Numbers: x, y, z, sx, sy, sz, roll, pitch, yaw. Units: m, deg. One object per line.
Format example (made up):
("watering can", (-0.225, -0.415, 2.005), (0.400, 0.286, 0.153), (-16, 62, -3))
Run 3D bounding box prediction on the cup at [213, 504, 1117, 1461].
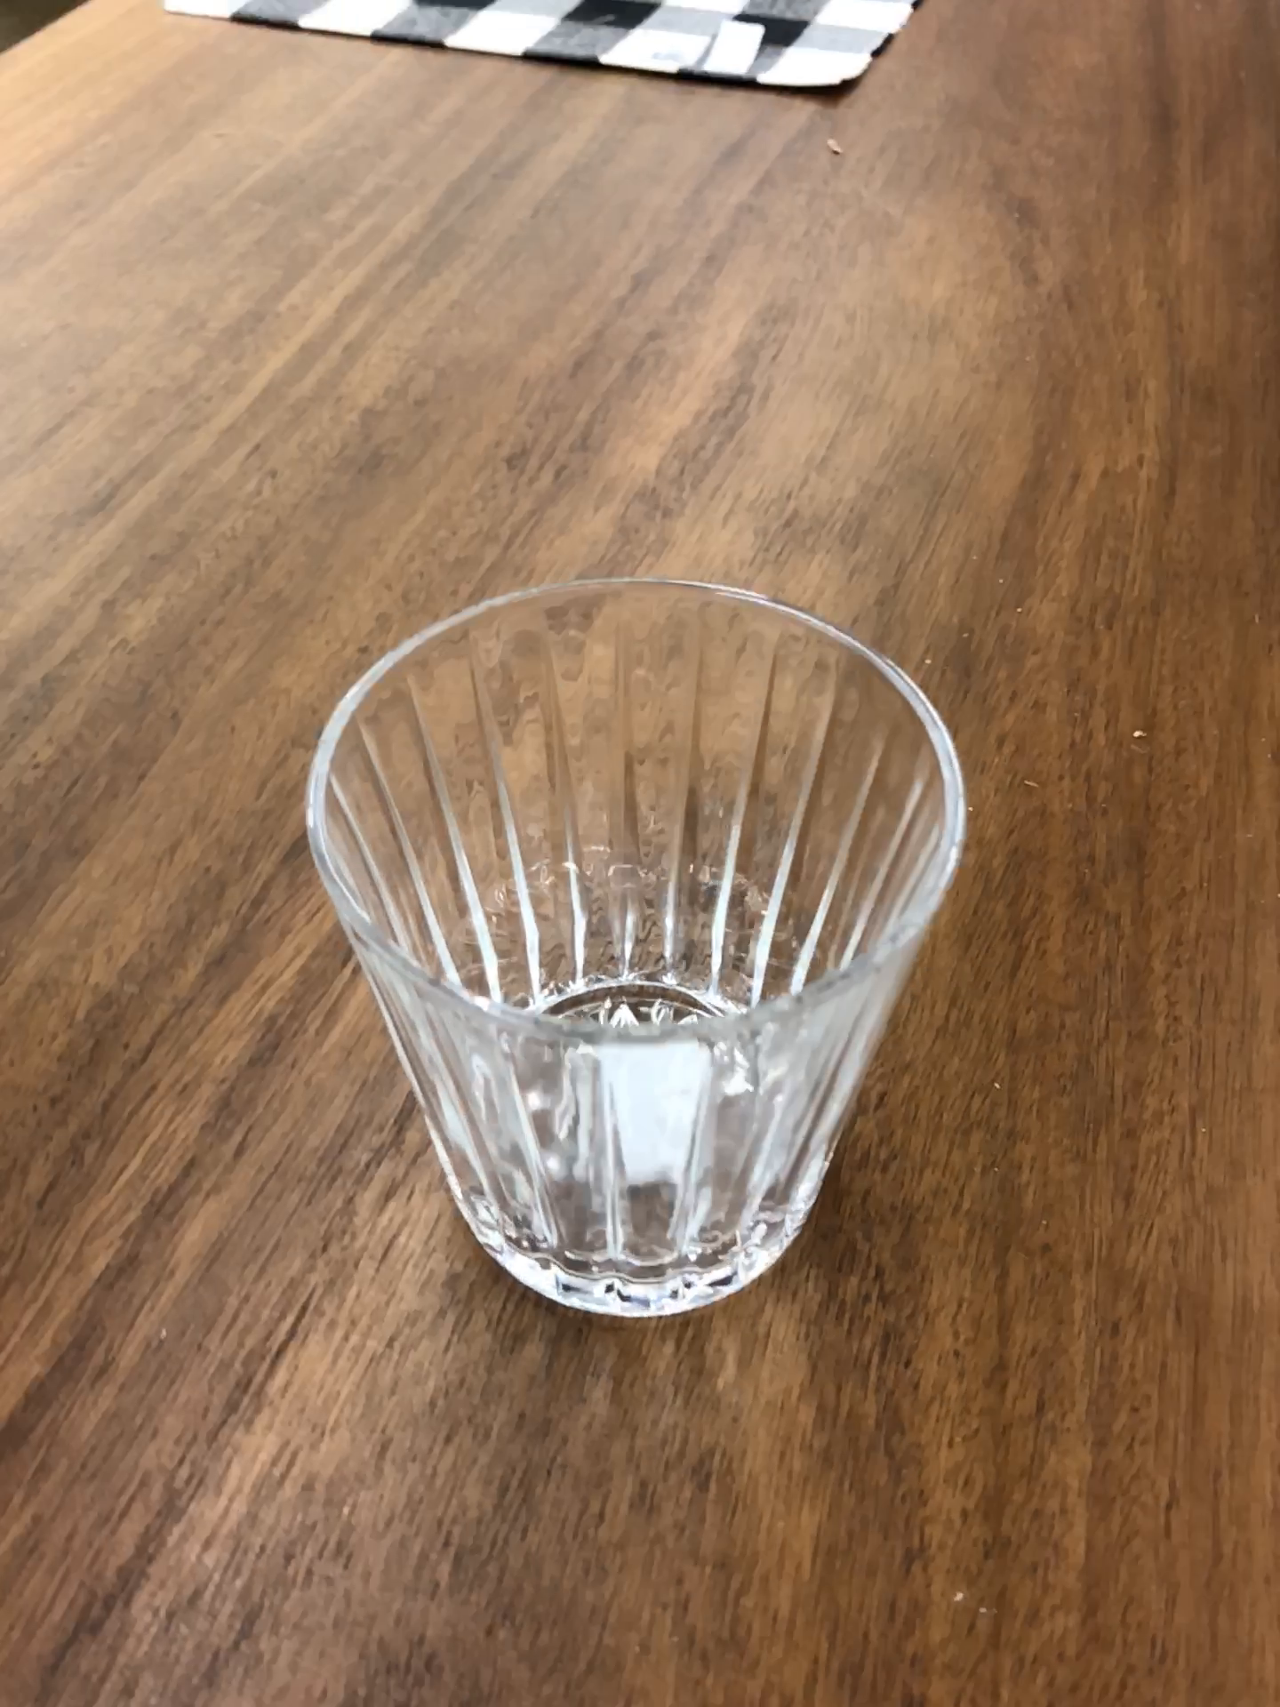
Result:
("cup", (0.006, 0.018, 0.235), (0.094, 0.093, 0.089), (-1, 46, 1))
